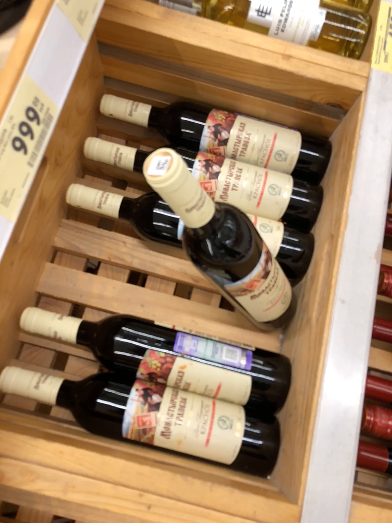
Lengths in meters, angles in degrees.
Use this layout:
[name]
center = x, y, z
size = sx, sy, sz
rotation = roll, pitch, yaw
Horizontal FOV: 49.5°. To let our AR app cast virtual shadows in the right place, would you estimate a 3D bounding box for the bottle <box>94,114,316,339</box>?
[bottle]
center = 0.040, -0.006, 0.413
size = 0.080, 0.309, 0.080
rotation = -10, 65, 22
